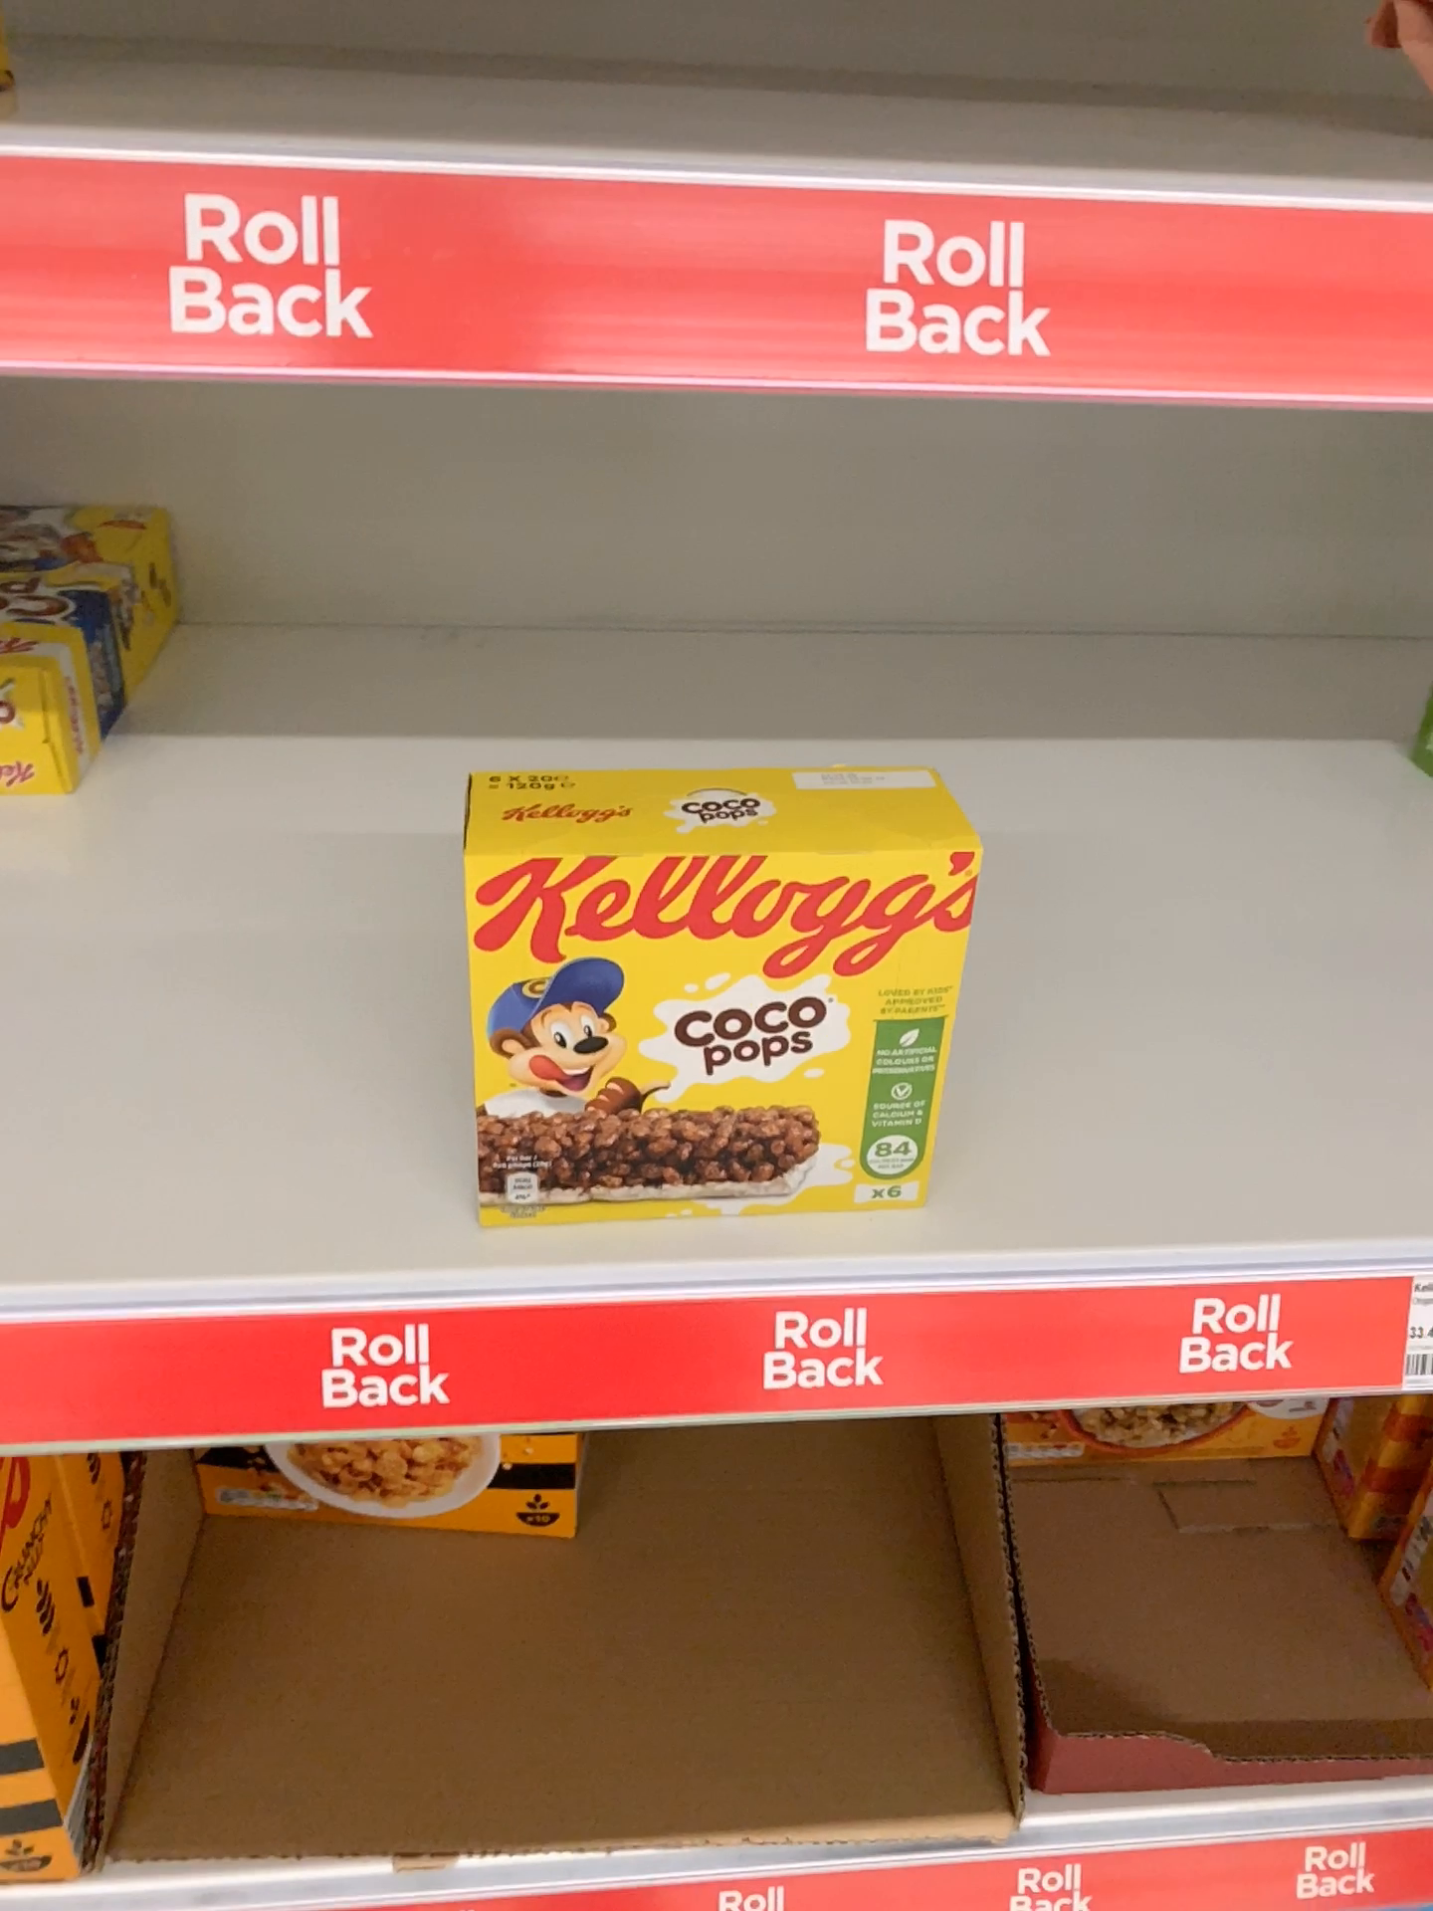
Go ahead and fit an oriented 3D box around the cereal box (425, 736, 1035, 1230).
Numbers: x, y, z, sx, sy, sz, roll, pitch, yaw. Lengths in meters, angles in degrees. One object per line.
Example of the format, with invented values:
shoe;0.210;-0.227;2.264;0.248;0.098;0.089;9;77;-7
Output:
cereal box;-0.001;0.007;0.415;0.150;0.119;0.061;-2;32;-7
